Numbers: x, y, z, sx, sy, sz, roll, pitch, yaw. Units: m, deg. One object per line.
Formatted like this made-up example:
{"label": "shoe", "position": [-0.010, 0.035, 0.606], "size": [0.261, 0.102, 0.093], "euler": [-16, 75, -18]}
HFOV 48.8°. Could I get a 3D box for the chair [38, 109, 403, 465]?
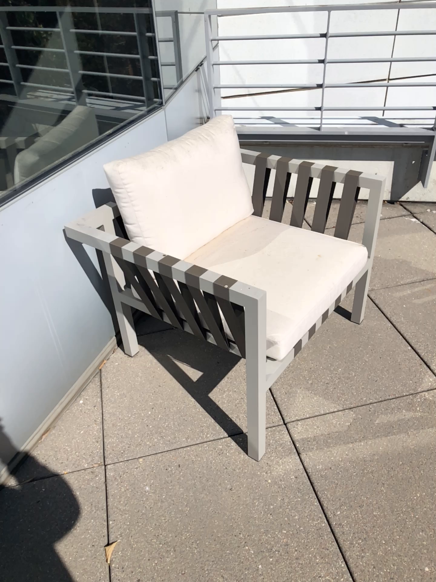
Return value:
{"label": "chair", "position": [0.060, -0.114, 1.704], "size": [0.782, 0.736, 0.872], "euler": [20, 41, 30]}
